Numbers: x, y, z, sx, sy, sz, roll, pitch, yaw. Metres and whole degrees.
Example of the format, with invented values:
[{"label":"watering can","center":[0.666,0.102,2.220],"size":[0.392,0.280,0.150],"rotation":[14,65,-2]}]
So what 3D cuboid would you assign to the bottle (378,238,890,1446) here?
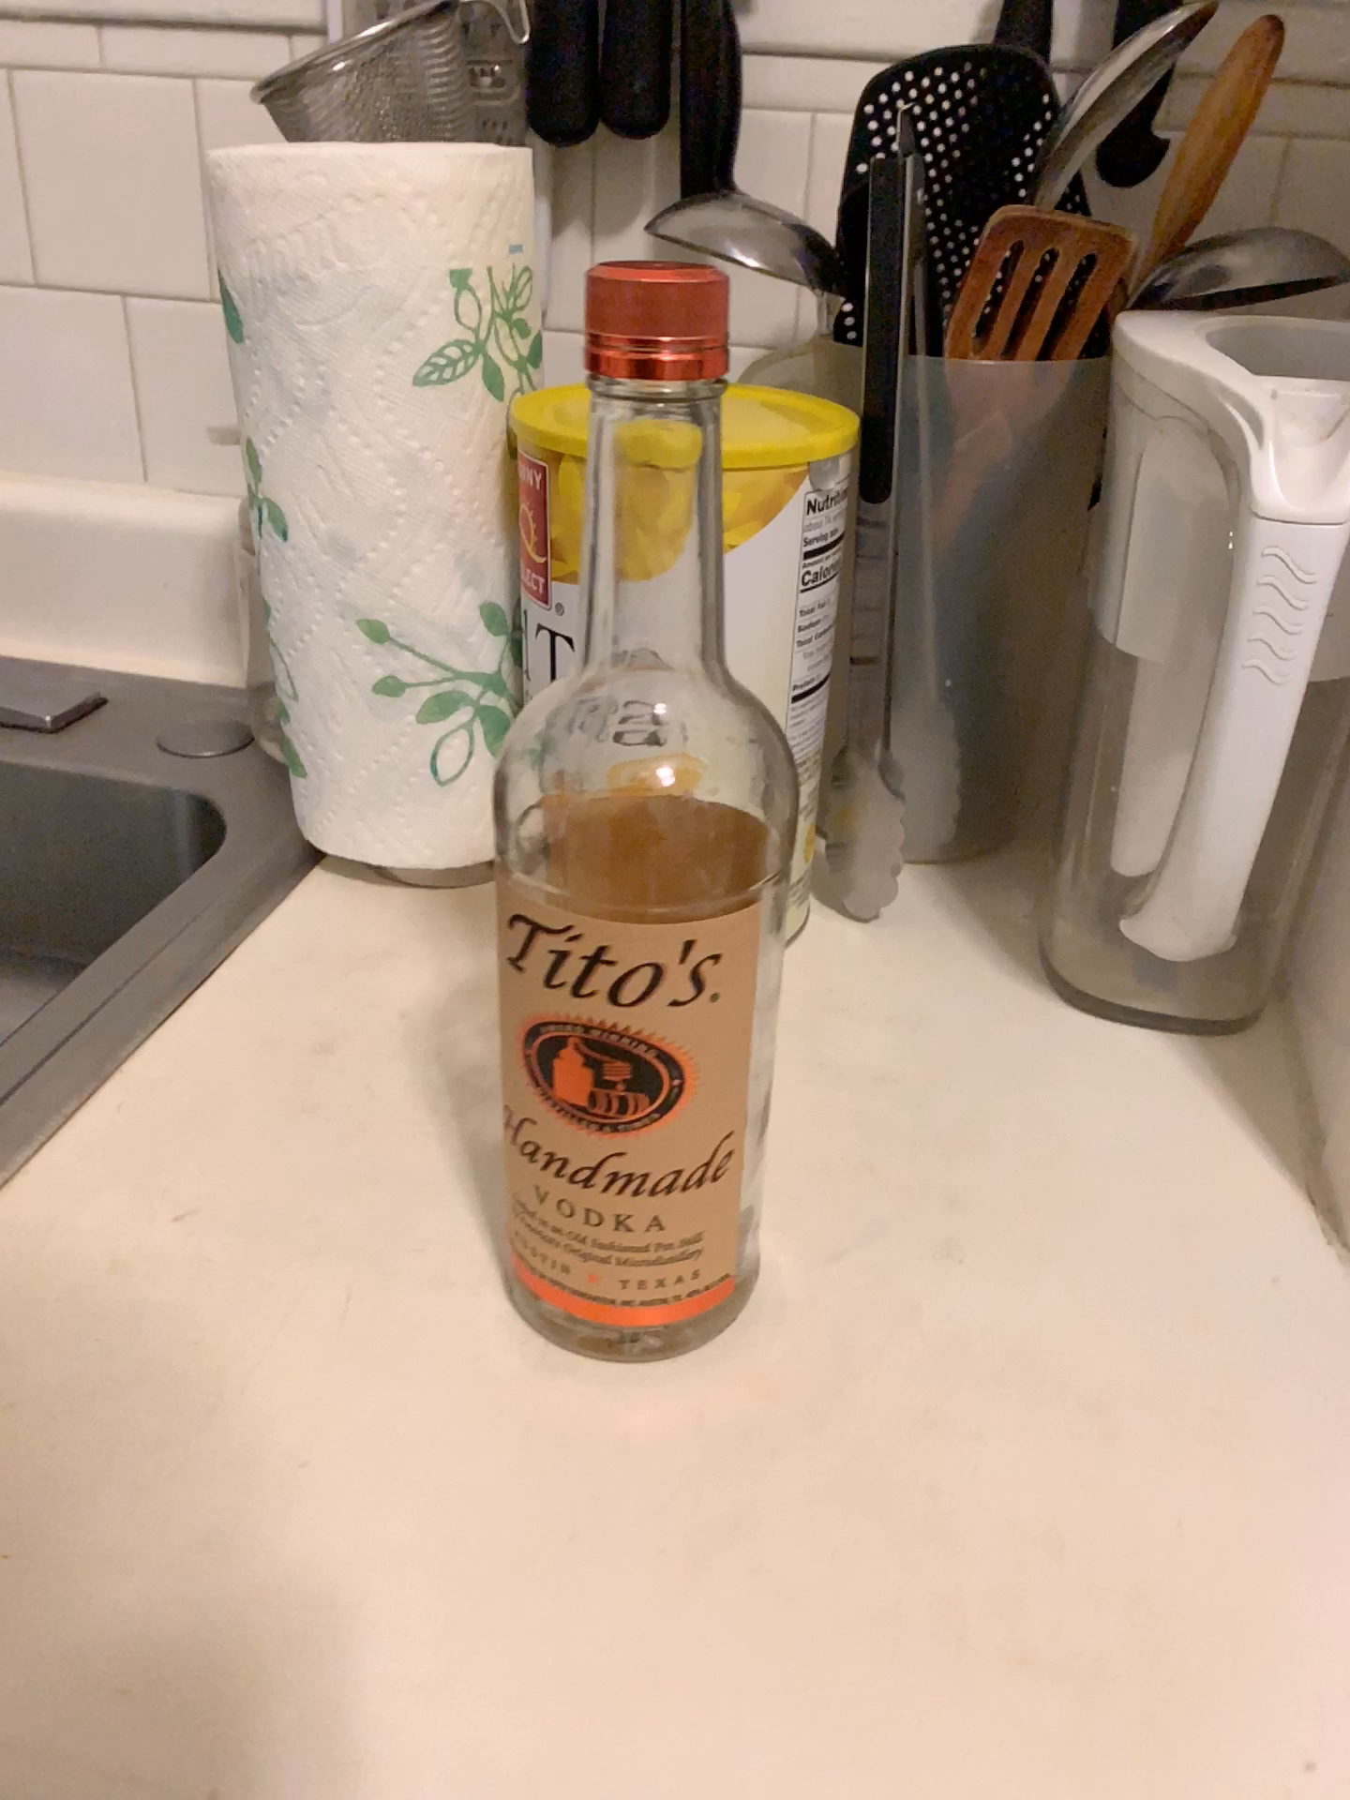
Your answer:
[{"label":"bottle","center":[-0.012,-0.005,0.355],"size":[0.080,0.288,0.080],"rotation":[3,29,-1]}]
